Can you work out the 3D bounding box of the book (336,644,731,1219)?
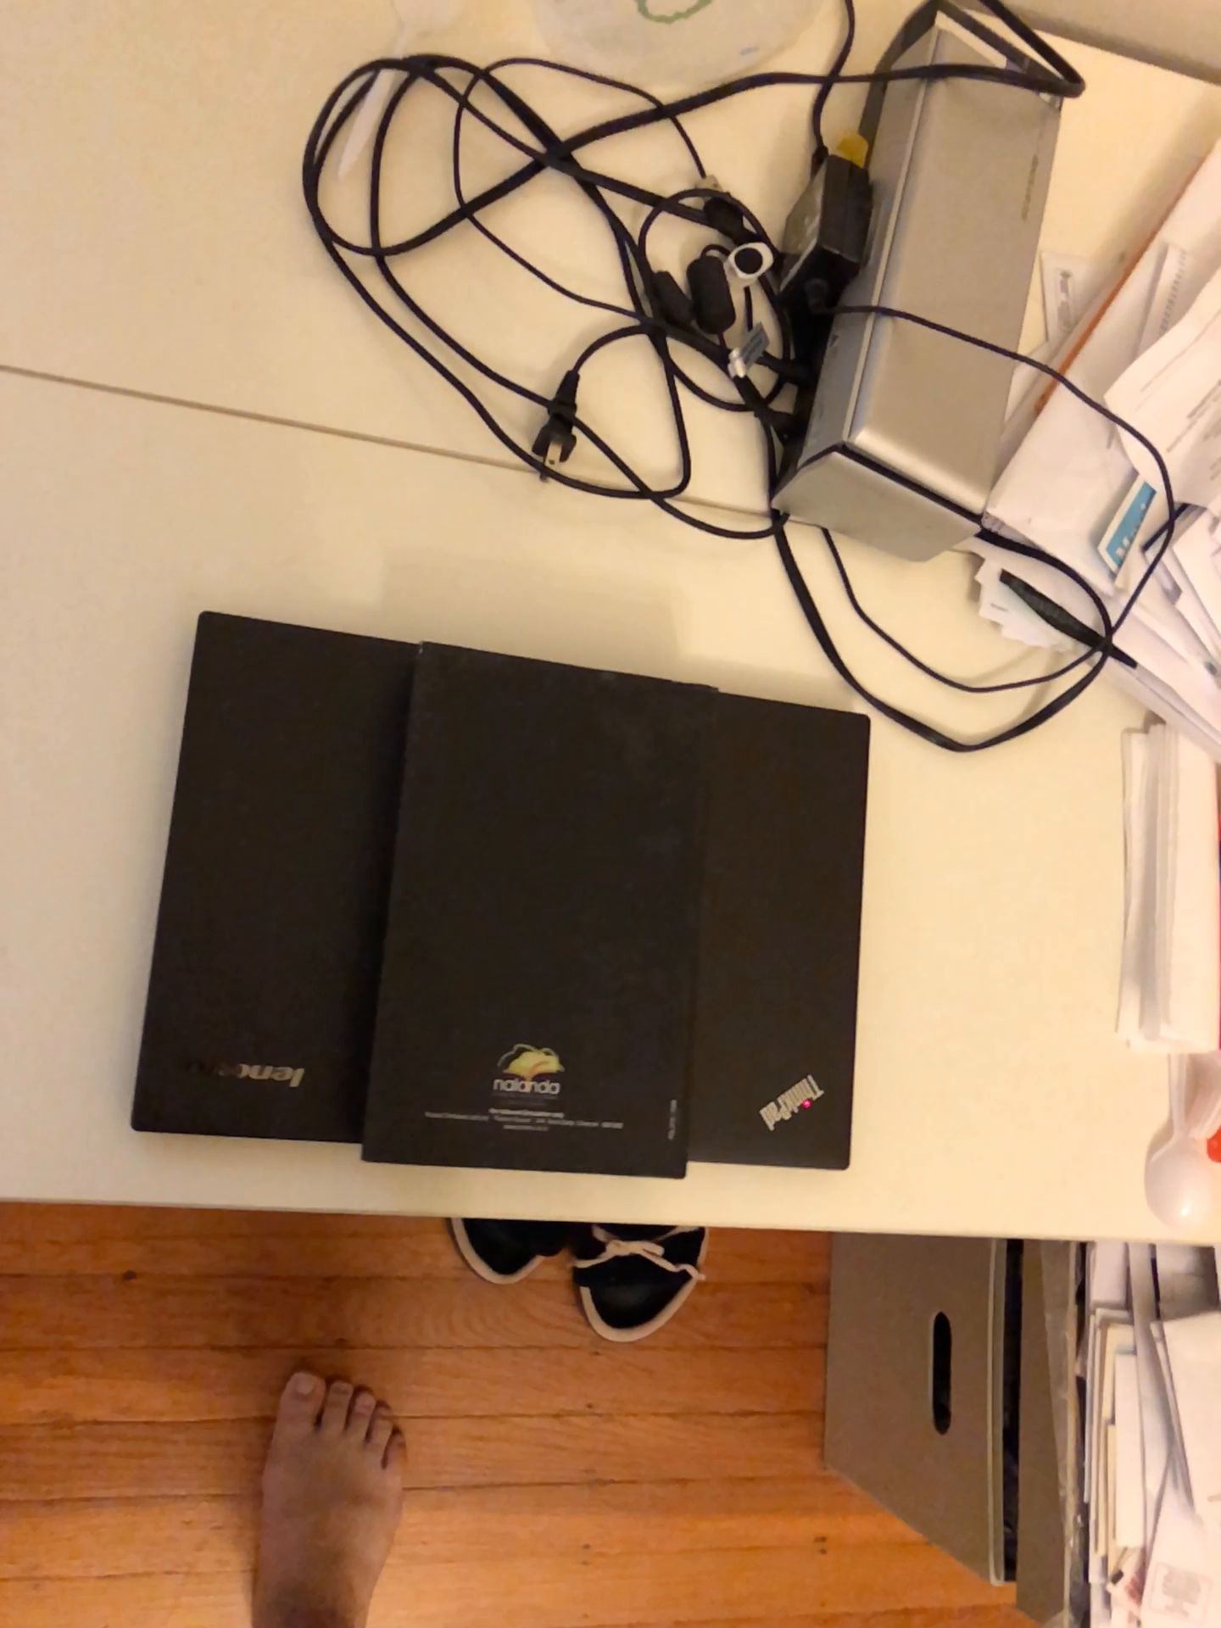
[{"bbox_3d":[-0.030,0.052,0.585,0.150,0.040,0.230,7,79,-15],"label":"book"}]
